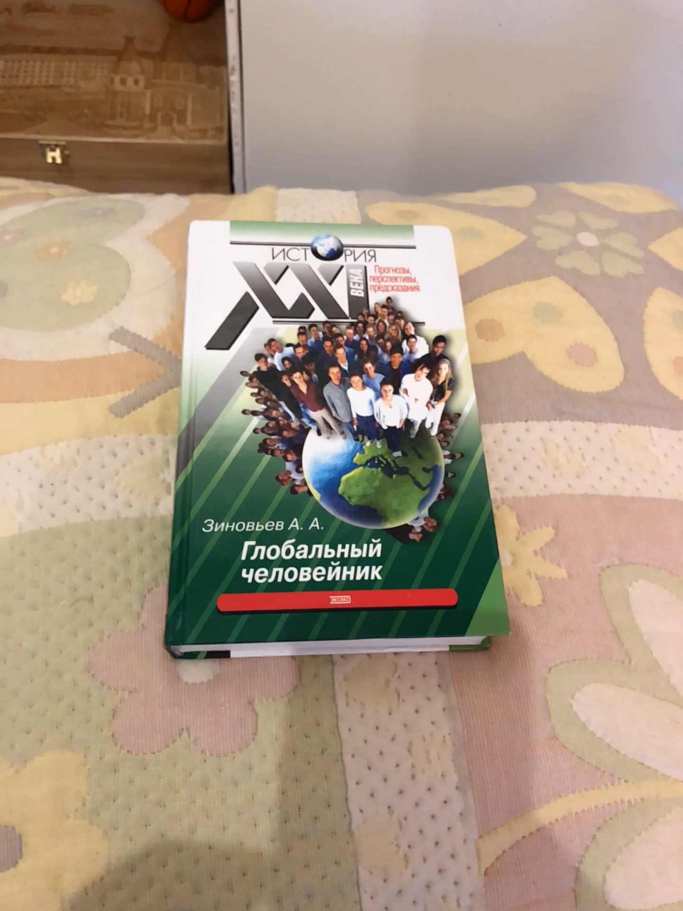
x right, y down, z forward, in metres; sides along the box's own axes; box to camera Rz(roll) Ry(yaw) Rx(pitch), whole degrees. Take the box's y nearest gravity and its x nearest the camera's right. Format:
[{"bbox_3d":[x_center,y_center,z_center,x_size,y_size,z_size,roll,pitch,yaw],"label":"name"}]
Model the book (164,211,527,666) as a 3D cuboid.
[{"bbox_3d":[-0.003,-0.017,0.339,0.133,0.036,0.208,0,63,-6],"label":"book"}]
